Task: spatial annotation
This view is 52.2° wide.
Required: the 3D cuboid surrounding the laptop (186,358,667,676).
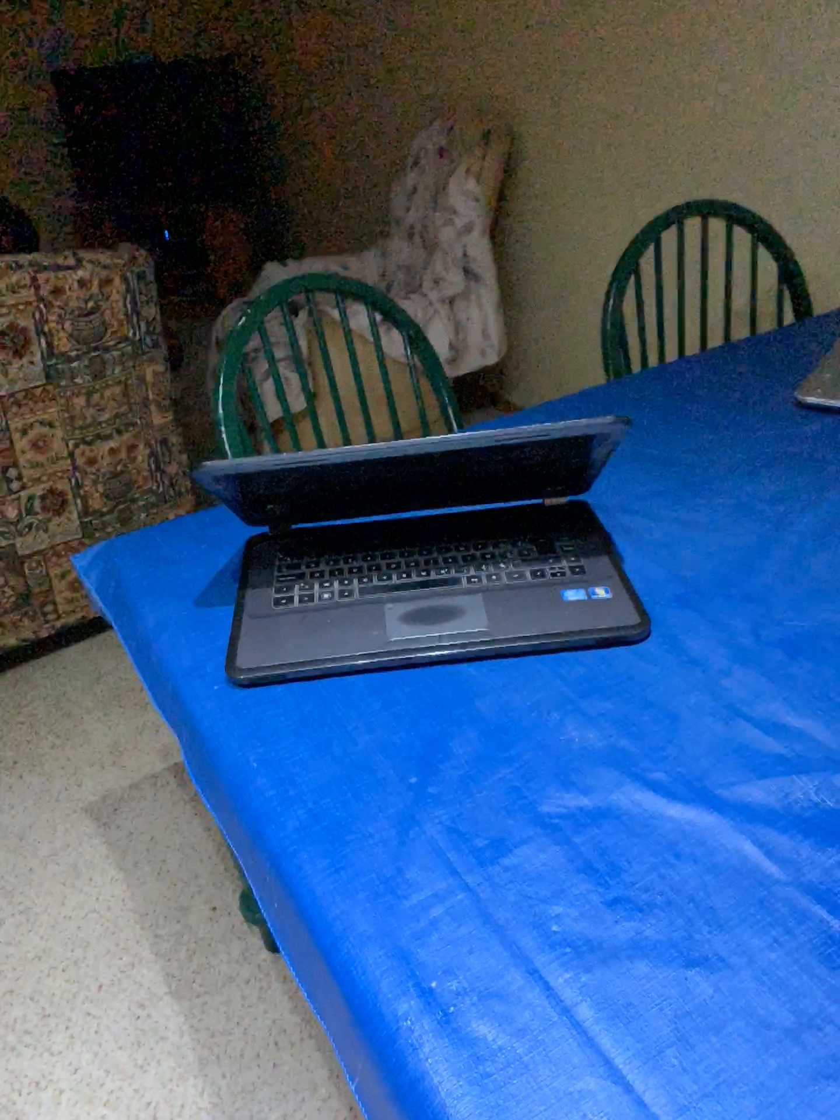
[{"bbox_3d":[0.004,-0.053,0.785,0.361,0.160,0.245,-6,30,-2],"label":"laptop"}]
